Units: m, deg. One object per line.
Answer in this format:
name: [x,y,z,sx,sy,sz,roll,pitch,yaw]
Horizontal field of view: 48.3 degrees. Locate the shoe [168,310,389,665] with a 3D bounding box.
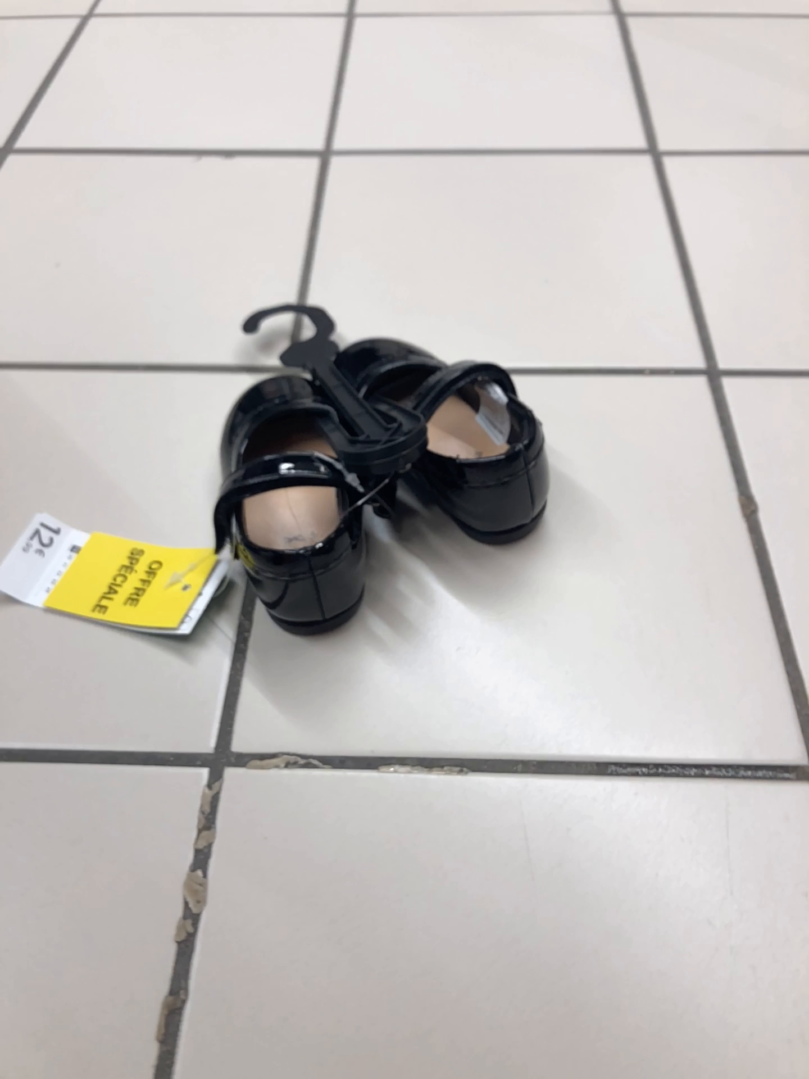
shoe: [-0.051,-0.025,0.347,0.059,0.047,0.130,-12,52,-8]

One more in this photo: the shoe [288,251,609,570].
shoe: [0.014,-0.057,0.367,0.060,0.047,0.127,-29,56,-21]
